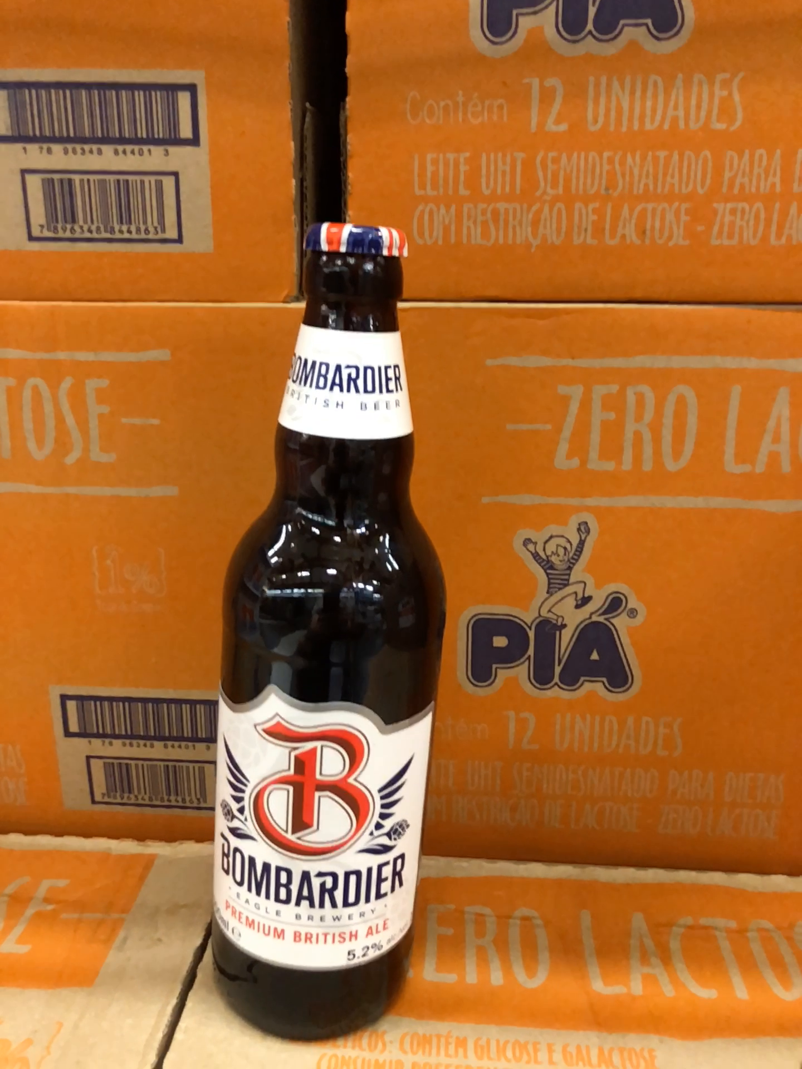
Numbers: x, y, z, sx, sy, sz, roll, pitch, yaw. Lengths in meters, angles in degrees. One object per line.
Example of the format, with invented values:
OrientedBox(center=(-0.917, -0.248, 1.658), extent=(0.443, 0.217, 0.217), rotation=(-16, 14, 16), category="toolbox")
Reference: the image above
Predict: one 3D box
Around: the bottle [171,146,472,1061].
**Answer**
OrientedBox(center=(-0.022, 0.026, 0.272), extent=(0.070, 0.259, 0.060), rotation=(4, 15, 5), category="bottle")
